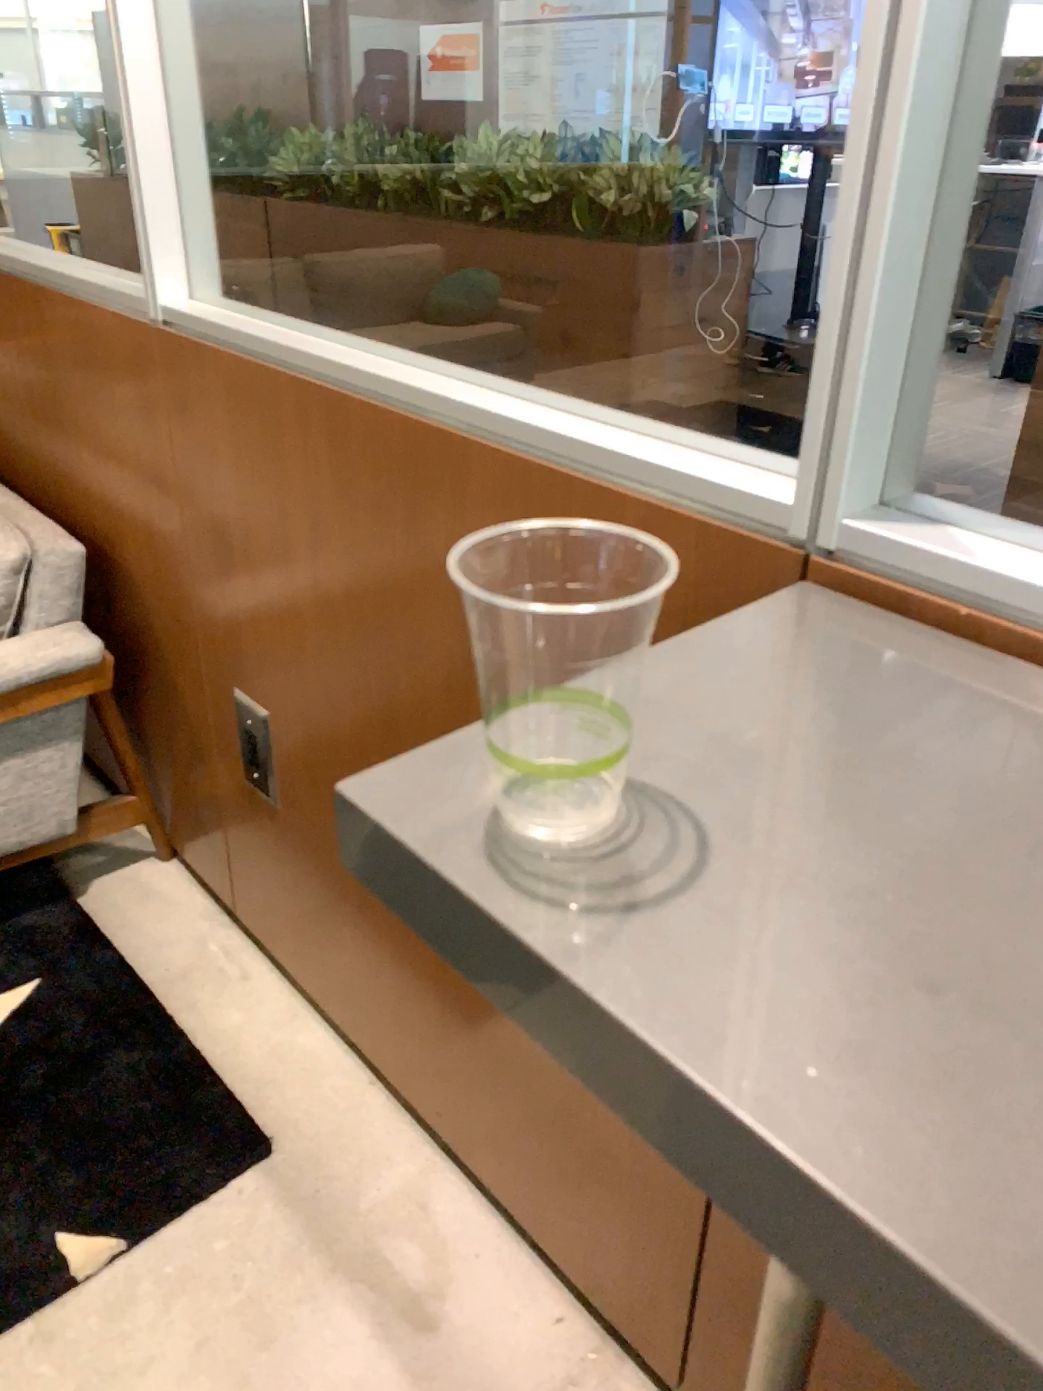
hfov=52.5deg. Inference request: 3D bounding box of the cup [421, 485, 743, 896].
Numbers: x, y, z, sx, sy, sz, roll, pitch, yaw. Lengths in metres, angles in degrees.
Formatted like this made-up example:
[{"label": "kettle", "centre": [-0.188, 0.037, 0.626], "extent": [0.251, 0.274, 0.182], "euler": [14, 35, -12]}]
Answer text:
[{"label": "cup", "centre": [0.021, -0.007, 0.448], "extent": [0.090, 0.129, 0.090], "euler": [1, 29, -1]}]
